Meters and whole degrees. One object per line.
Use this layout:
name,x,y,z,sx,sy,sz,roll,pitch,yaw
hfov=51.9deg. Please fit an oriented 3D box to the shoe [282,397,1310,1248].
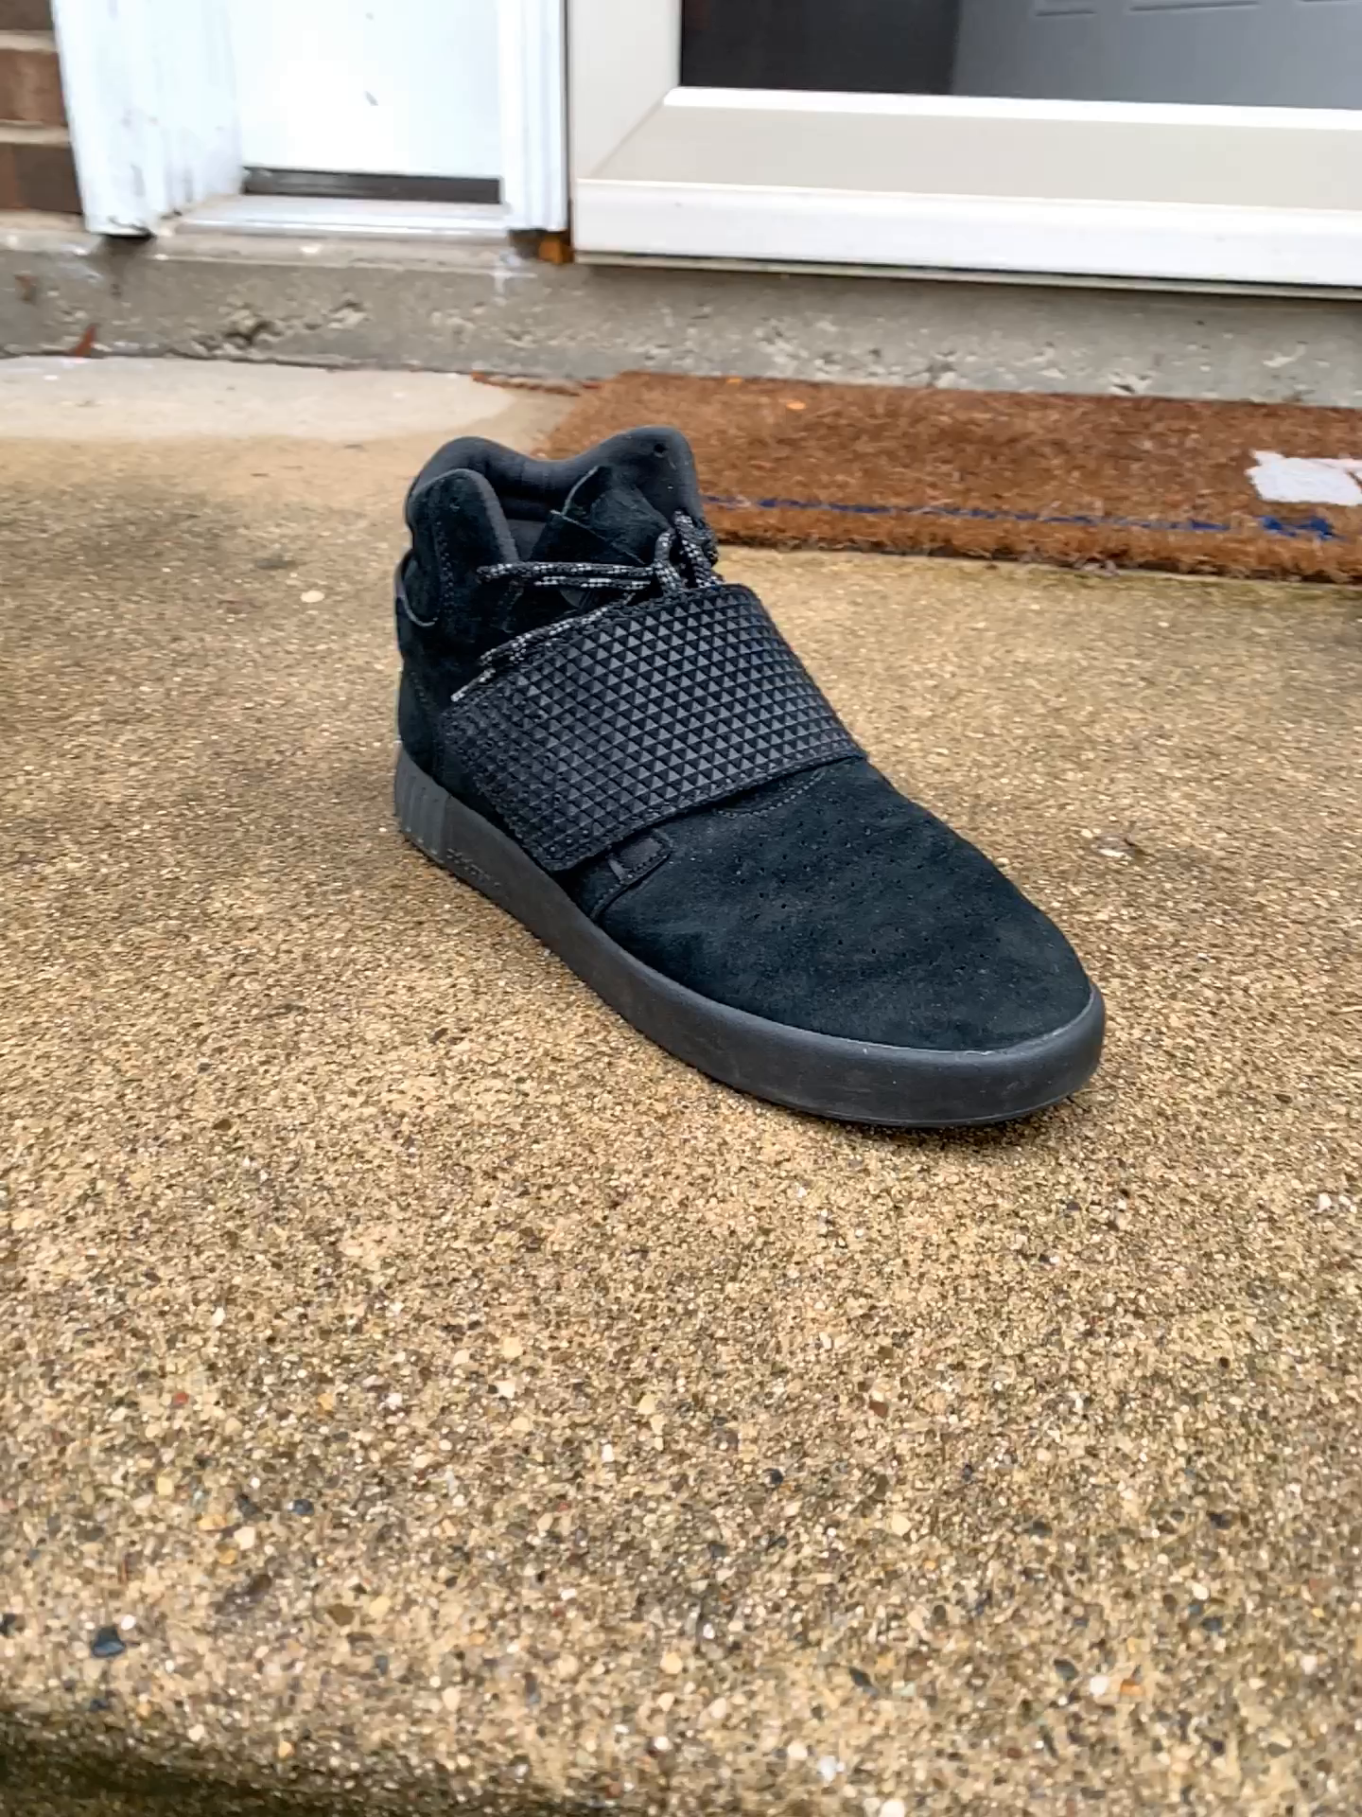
shoe,0.009,-0.055,0.431,0.119,0.141,0.291,-23,38,-36
